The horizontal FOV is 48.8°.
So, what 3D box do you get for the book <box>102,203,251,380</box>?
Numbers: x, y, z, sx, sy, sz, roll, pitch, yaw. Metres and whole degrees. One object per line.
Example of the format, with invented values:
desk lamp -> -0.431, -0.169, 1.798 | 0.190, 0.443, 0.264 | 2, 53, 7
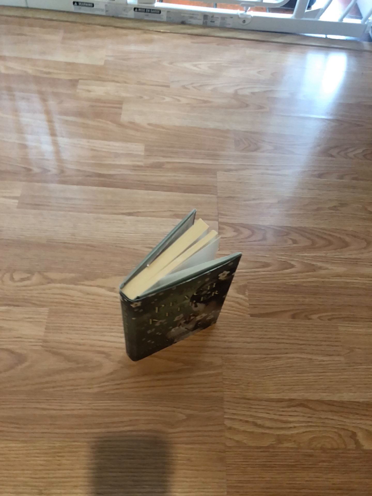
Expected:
book -> -0.019, 0.069, 0.547 | 0.150, 0.220, 0.080 | -34, 68, -25
